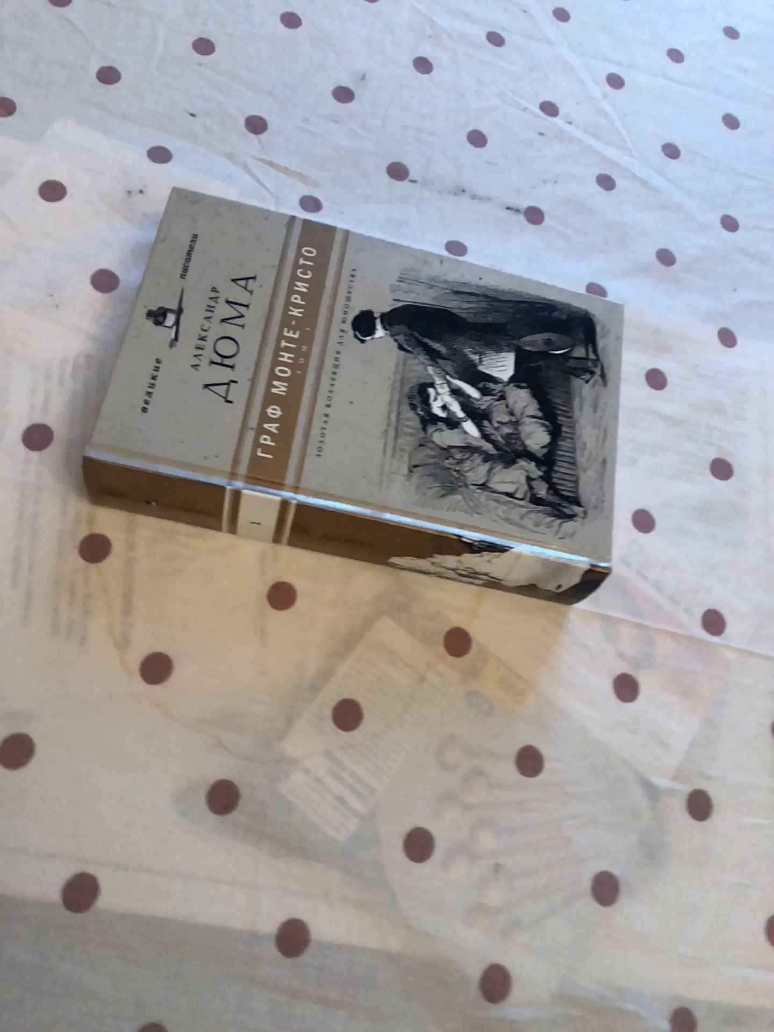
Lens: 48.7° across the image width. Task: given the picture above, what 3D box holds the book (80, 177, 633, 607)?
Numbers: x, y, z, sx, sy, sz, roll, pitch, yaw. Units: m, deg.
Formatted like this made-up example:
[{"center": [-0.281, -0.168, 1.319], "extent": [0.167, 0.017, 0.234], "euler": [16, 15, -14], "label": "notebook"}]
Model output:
[{"center": [-0.003, -0.051, 0.363], "extent": [0.208, 0.040, 0.136], "euler": [12, 67, -8], "label": "book"}]
